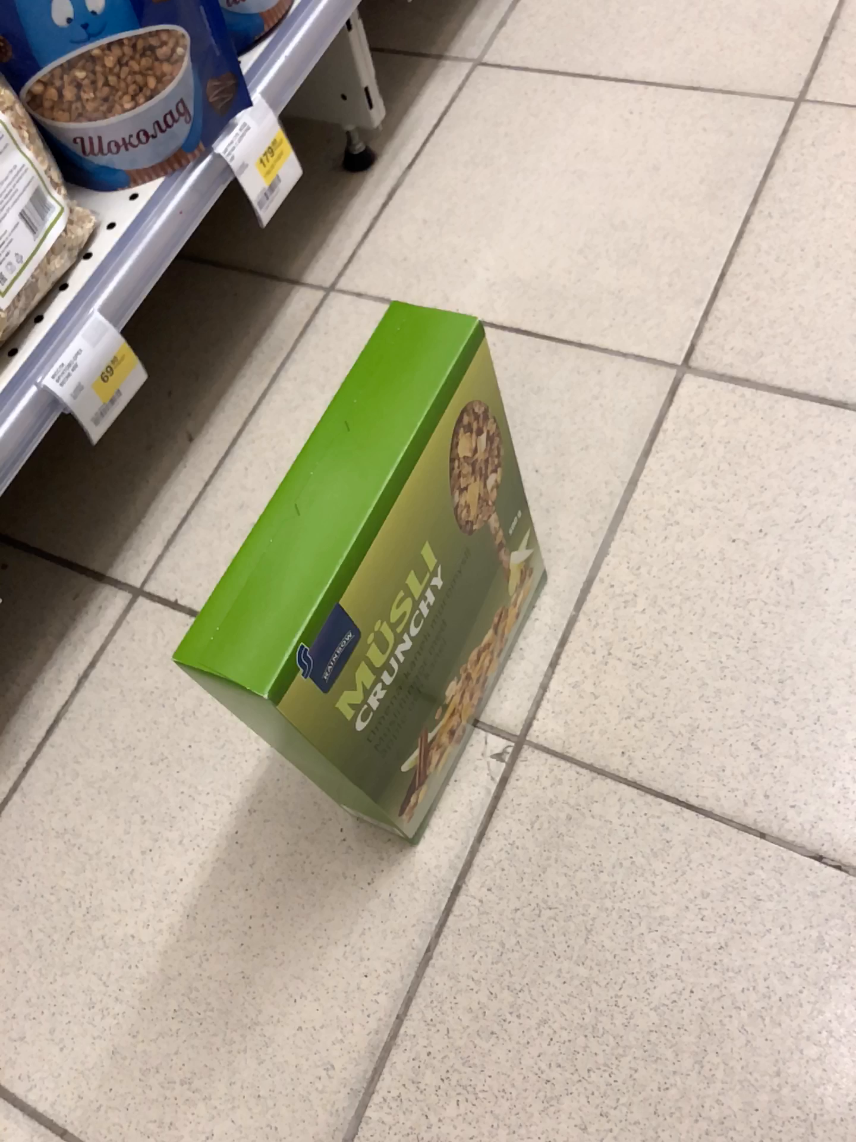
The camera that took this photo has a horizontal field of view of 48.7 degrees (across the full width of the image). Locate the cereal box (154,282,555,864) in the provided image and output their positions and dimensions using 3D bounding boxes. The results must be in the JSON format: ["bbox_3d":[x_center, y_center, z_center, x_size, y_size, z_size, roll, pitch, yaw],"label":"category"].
[{"bbox_3d":[-0.010,0.020,0.487,0.050,0.249,0.200,19,67,23],"label":"cereal box"}]
